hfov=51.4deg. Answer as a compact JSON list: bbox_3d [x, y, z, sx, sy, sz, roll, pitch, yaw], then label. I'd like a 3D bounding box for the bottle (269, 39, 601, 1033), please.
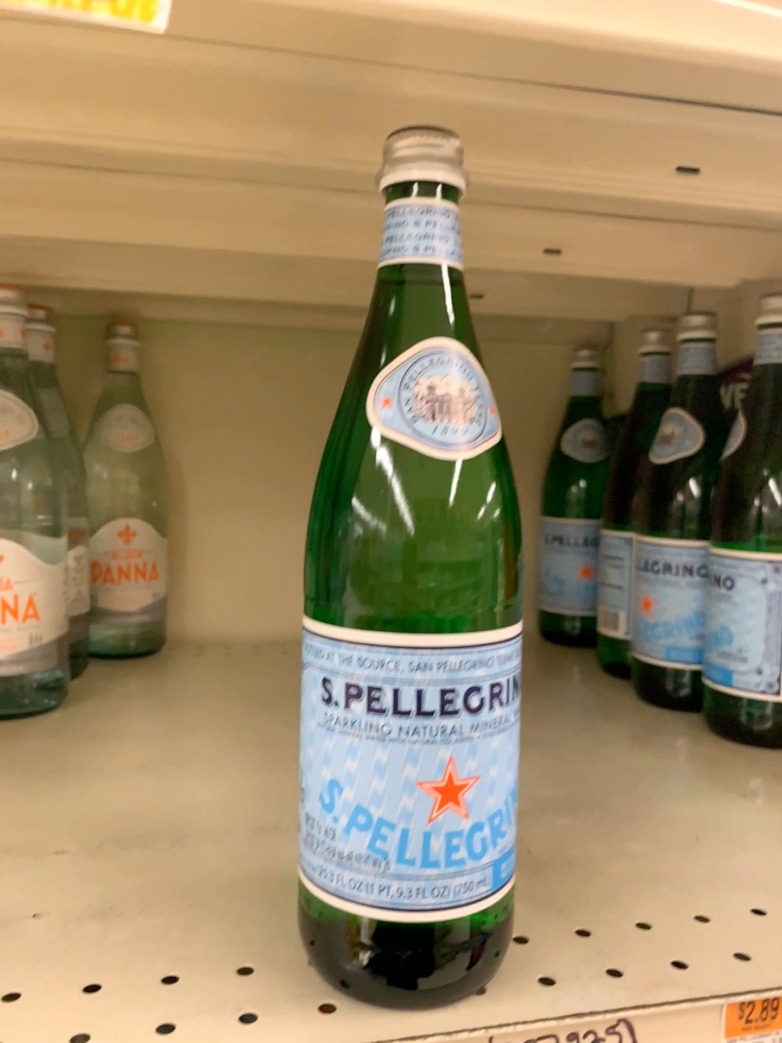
[{"bbox_3d":[0.006,0.008,0.287,0.090,0.290,0.090,2,5,0],"label":"bottle"}]
